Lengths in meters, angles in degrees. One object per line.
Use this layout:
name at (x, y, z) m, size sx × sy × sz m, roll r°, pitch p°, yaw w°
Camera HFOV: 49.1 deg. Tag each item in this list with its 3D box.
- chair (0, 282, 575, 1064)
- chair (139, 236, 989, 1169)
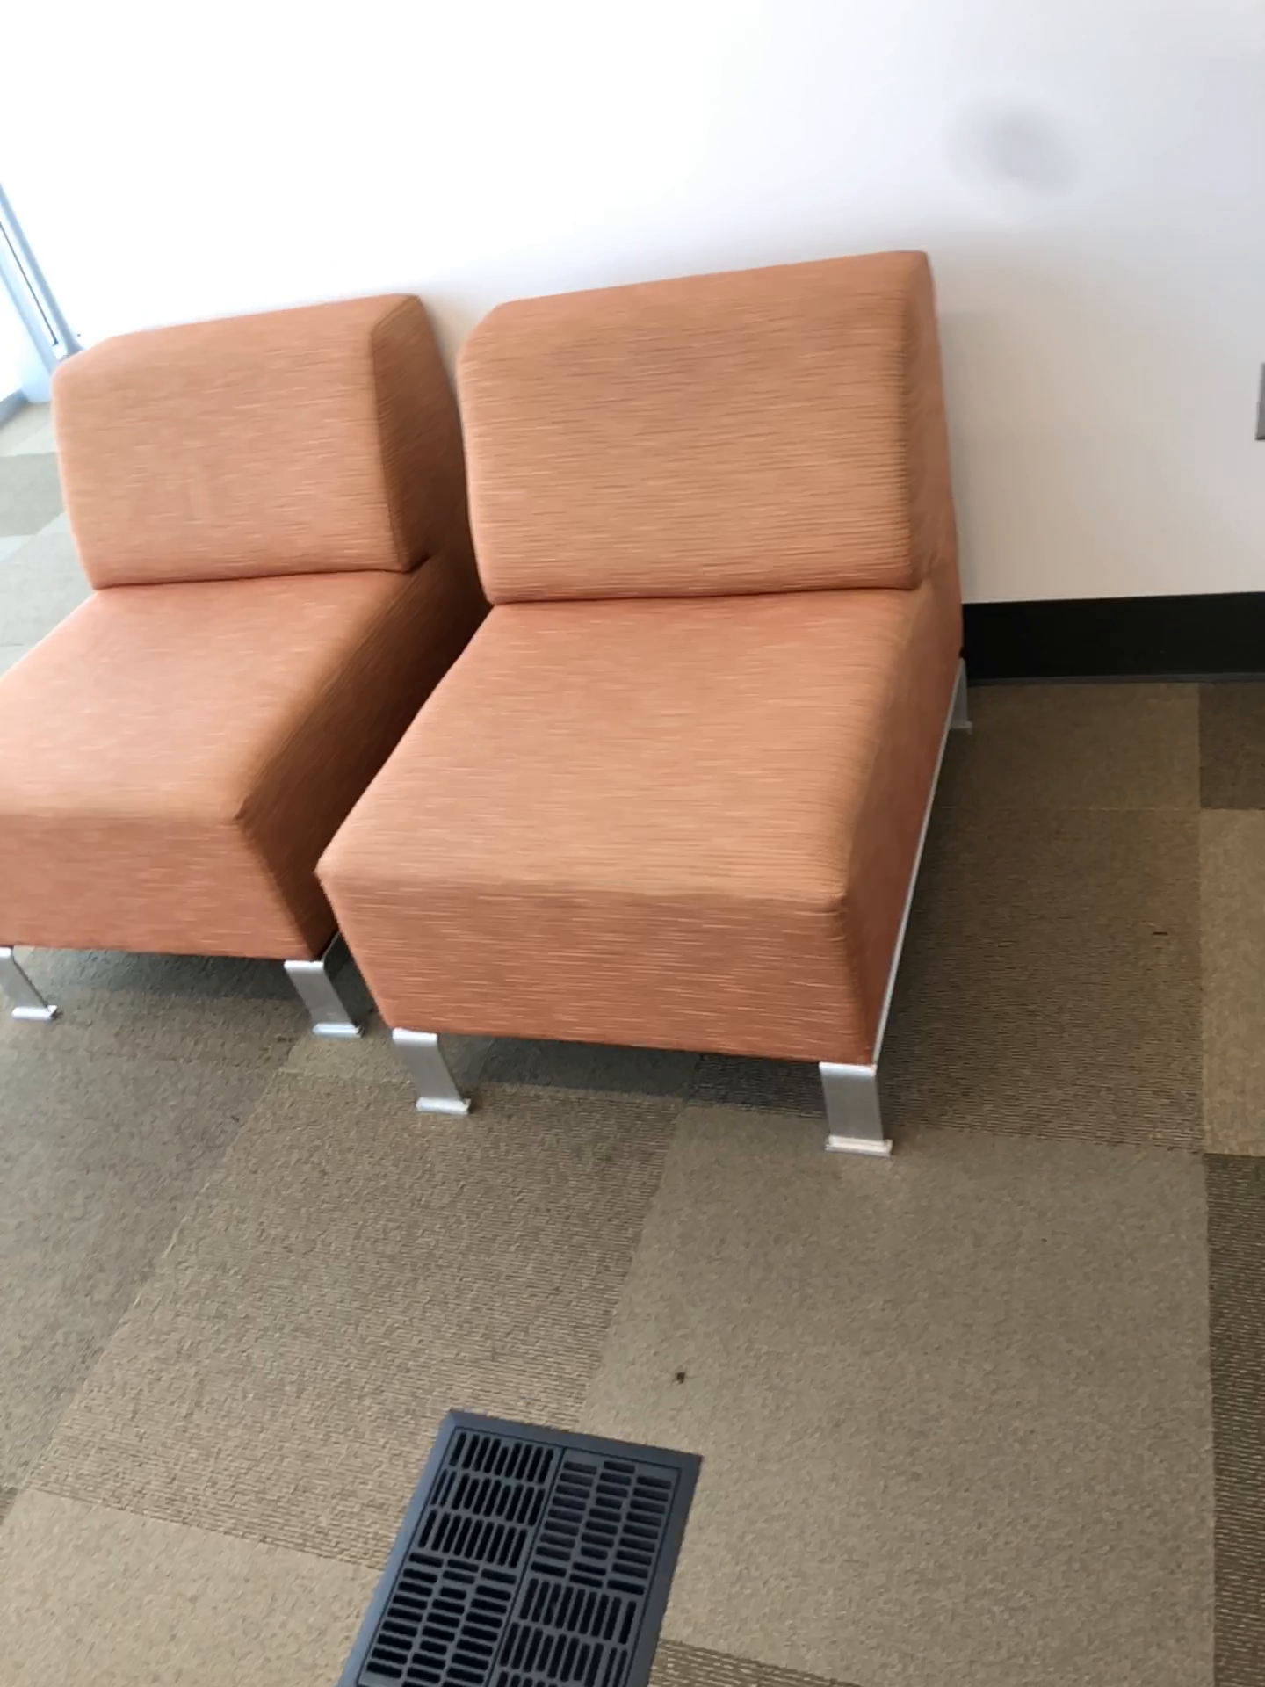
chair at (-0.686, -0.293, 2.248) m, size 0.765 × 0.809 × 0.936 m, roll 0°, pitch 39°, yaw 21°
chair at (0.041, -0.218, 1.835) m, size 0.695 × 0.759 × 0.926 m, roll 1°, pitch 39°, yaw 22°
